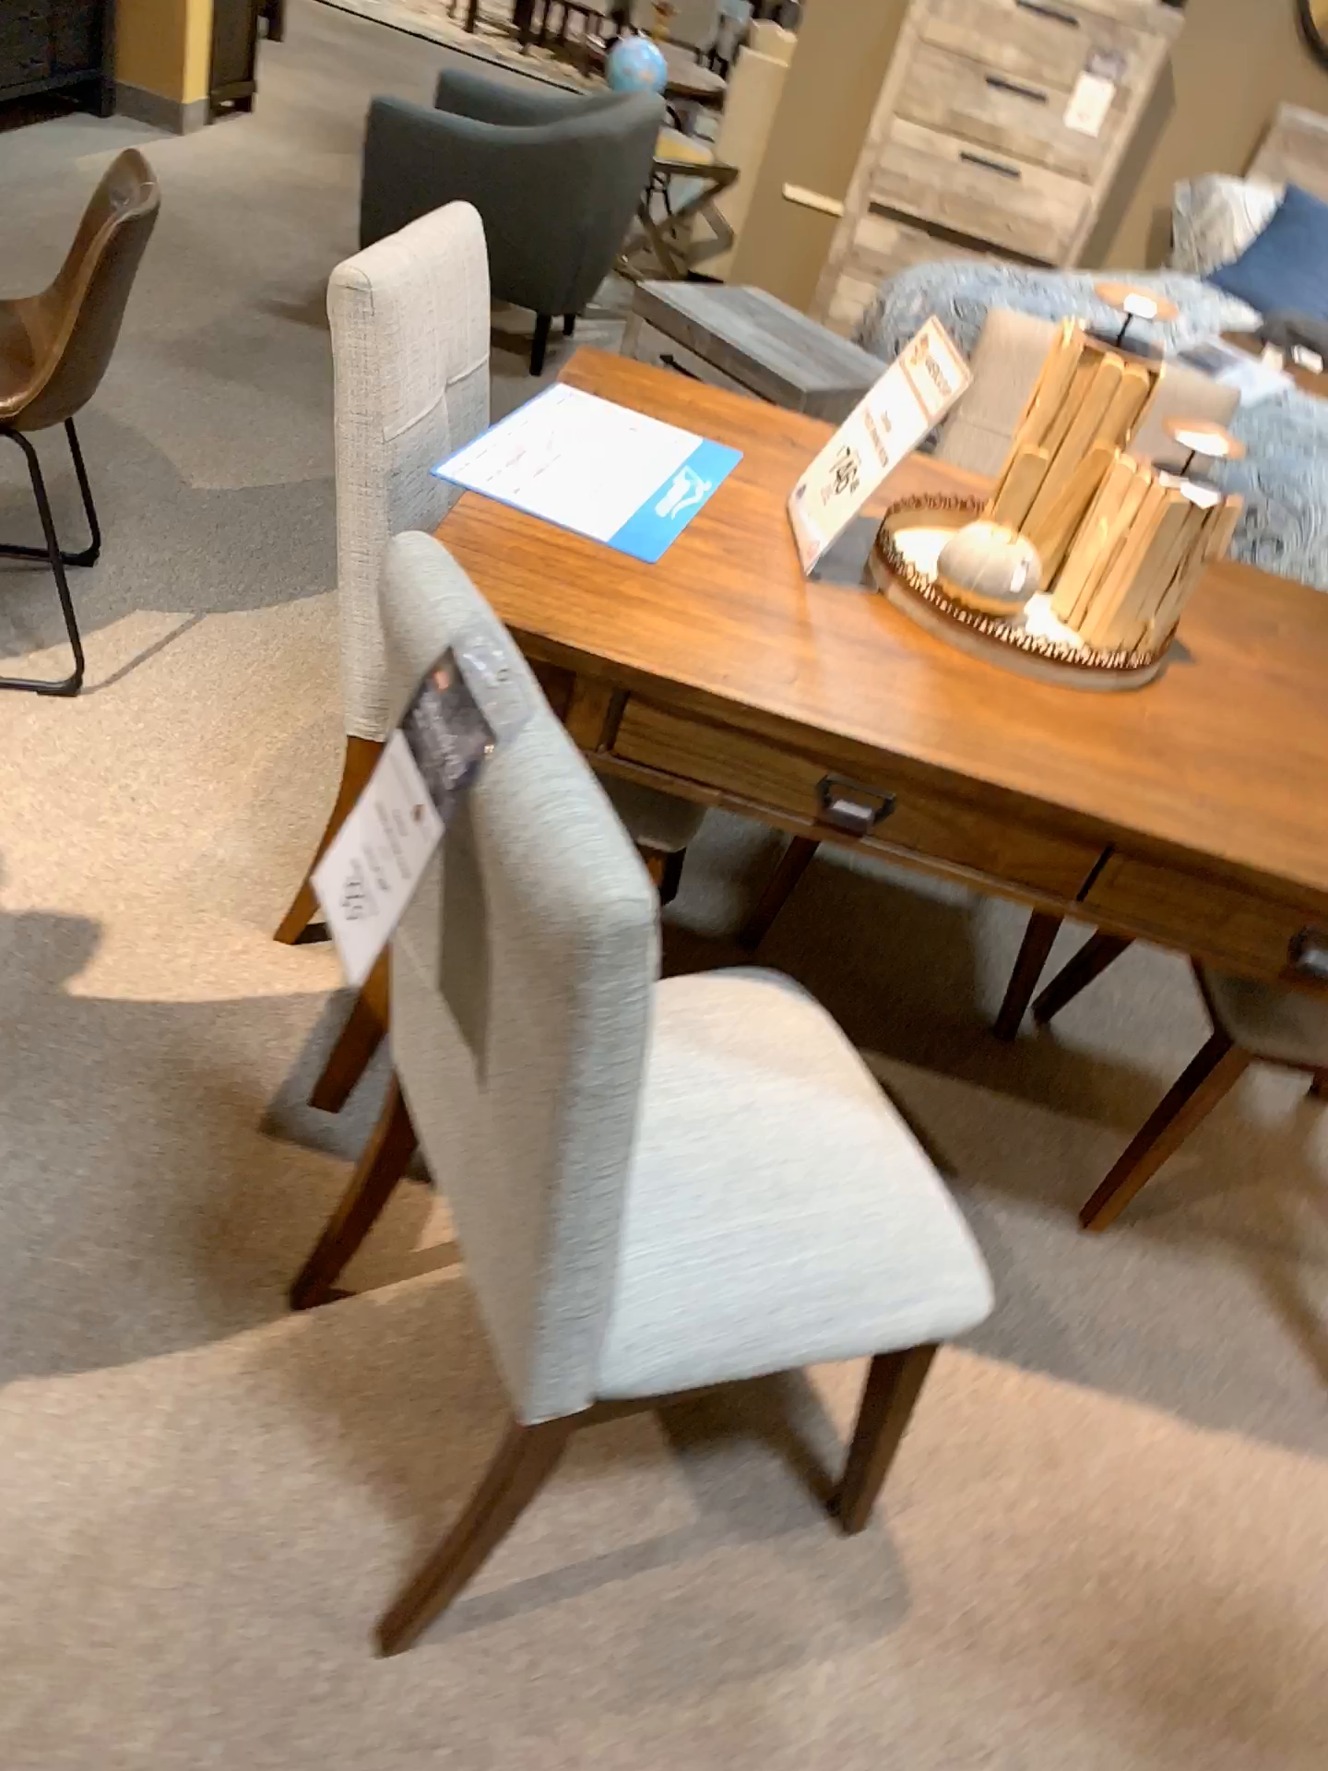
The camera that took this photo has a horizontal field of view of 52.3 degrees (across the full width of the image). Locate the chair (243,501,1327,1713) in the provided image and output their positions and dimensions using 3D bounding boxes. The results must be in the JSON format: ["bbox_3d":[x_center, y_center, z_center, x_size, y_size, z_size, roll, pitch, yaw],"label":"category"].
[{"bbox_3d":[0.014,0.212,1.226,0.628,0.912,0.486,-3,42,-27],"label":"chair"}]

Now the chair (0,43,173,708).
[{"bbox_3d":[-1.104,-0.760,2.105,0.597,0.743,0.526,3,40,-21],"label":"chair"}]

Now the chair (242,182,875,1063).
[{"bbox_3d":[-0.156,-0.332,1.833,0.597,0.912,0.517,16,37,-2],"label":"chair"}]
